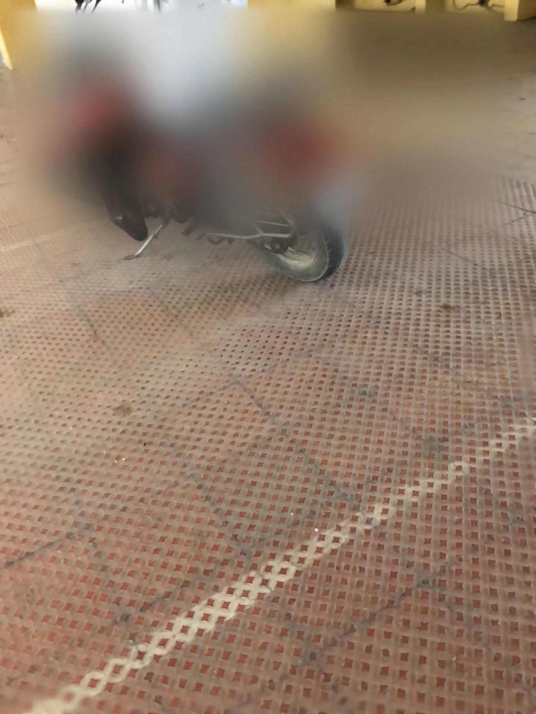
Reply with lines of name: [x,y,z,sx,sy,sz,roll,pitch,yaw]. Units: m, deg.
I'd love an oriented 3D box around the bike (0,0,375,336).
bike: [-0.563,-0.999,2.206,1.648,1.049,0.760,24,44,27]
